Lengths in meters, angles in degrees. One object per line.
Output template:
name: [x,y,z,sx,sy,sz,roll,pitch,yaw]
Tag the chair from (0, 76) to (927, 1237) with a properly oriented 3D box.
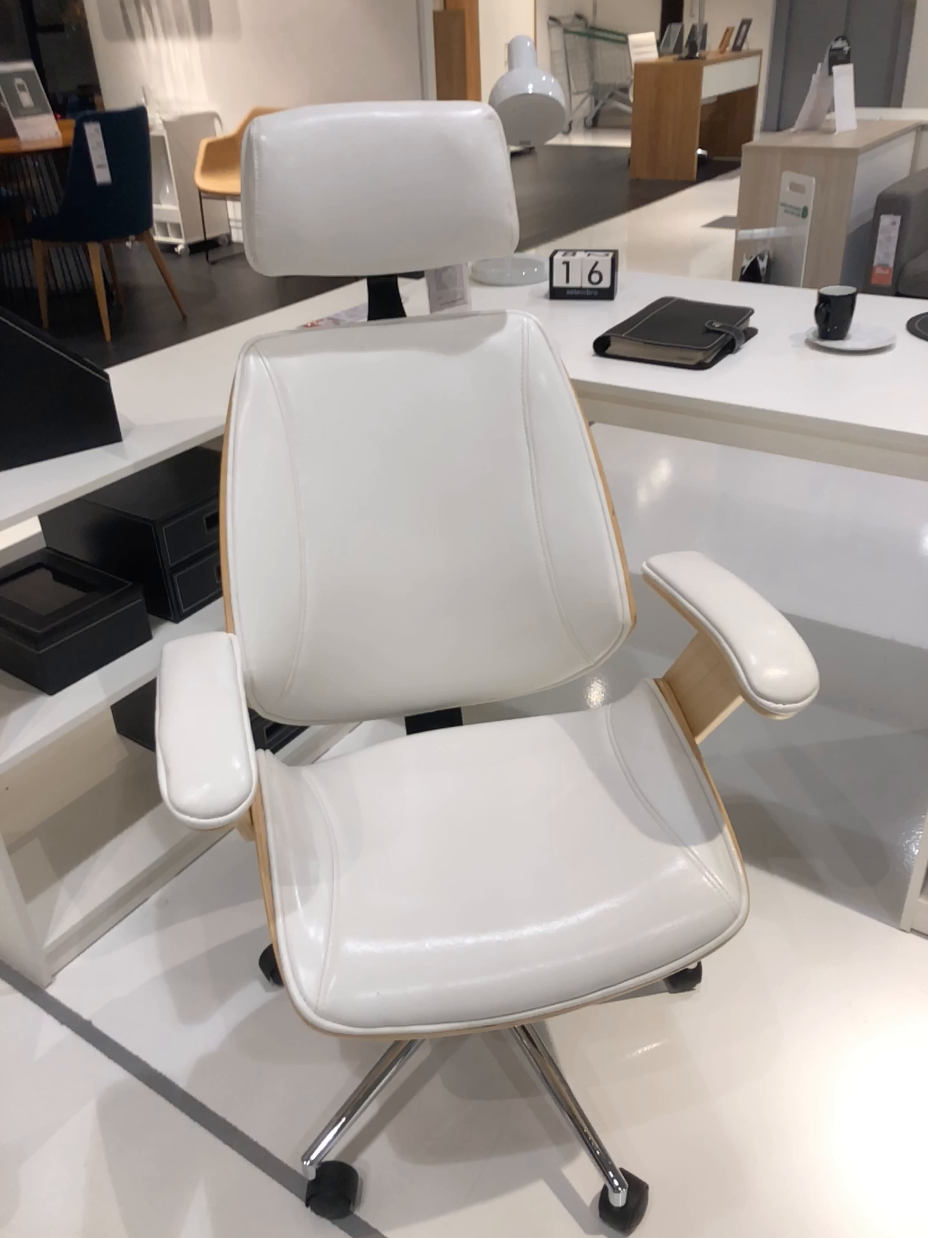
chair: [0.004,0.053,1.136,0.670,1.102,0.705,-8,31,-9]
